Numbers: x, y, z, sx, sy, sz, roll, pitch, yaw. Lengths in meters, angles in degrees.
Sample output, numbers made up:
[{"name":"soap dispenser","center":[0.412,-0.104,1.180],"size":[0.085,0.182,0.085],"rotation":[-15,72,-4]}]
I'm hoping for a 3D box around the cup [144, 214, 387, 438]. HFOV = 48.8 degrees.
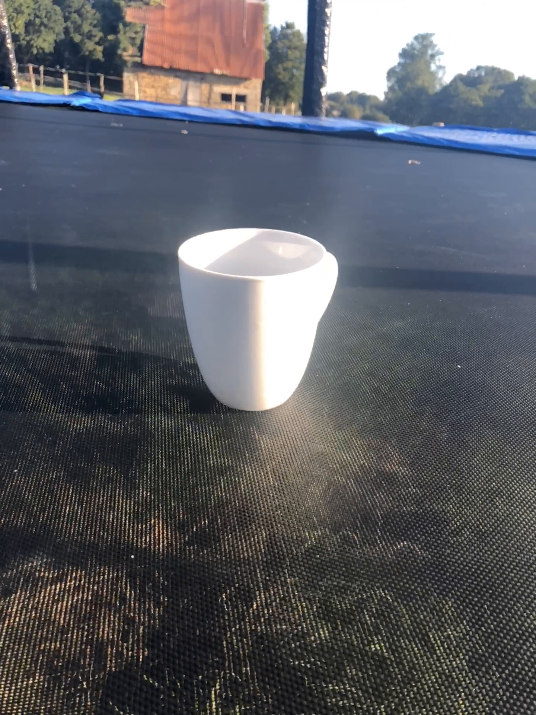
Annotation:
[{"name":"cup","center":[-0.003,-0.029,0.382],"size":[0.111,0.089,0.100],"rotation":[-21,37,-38]}]
